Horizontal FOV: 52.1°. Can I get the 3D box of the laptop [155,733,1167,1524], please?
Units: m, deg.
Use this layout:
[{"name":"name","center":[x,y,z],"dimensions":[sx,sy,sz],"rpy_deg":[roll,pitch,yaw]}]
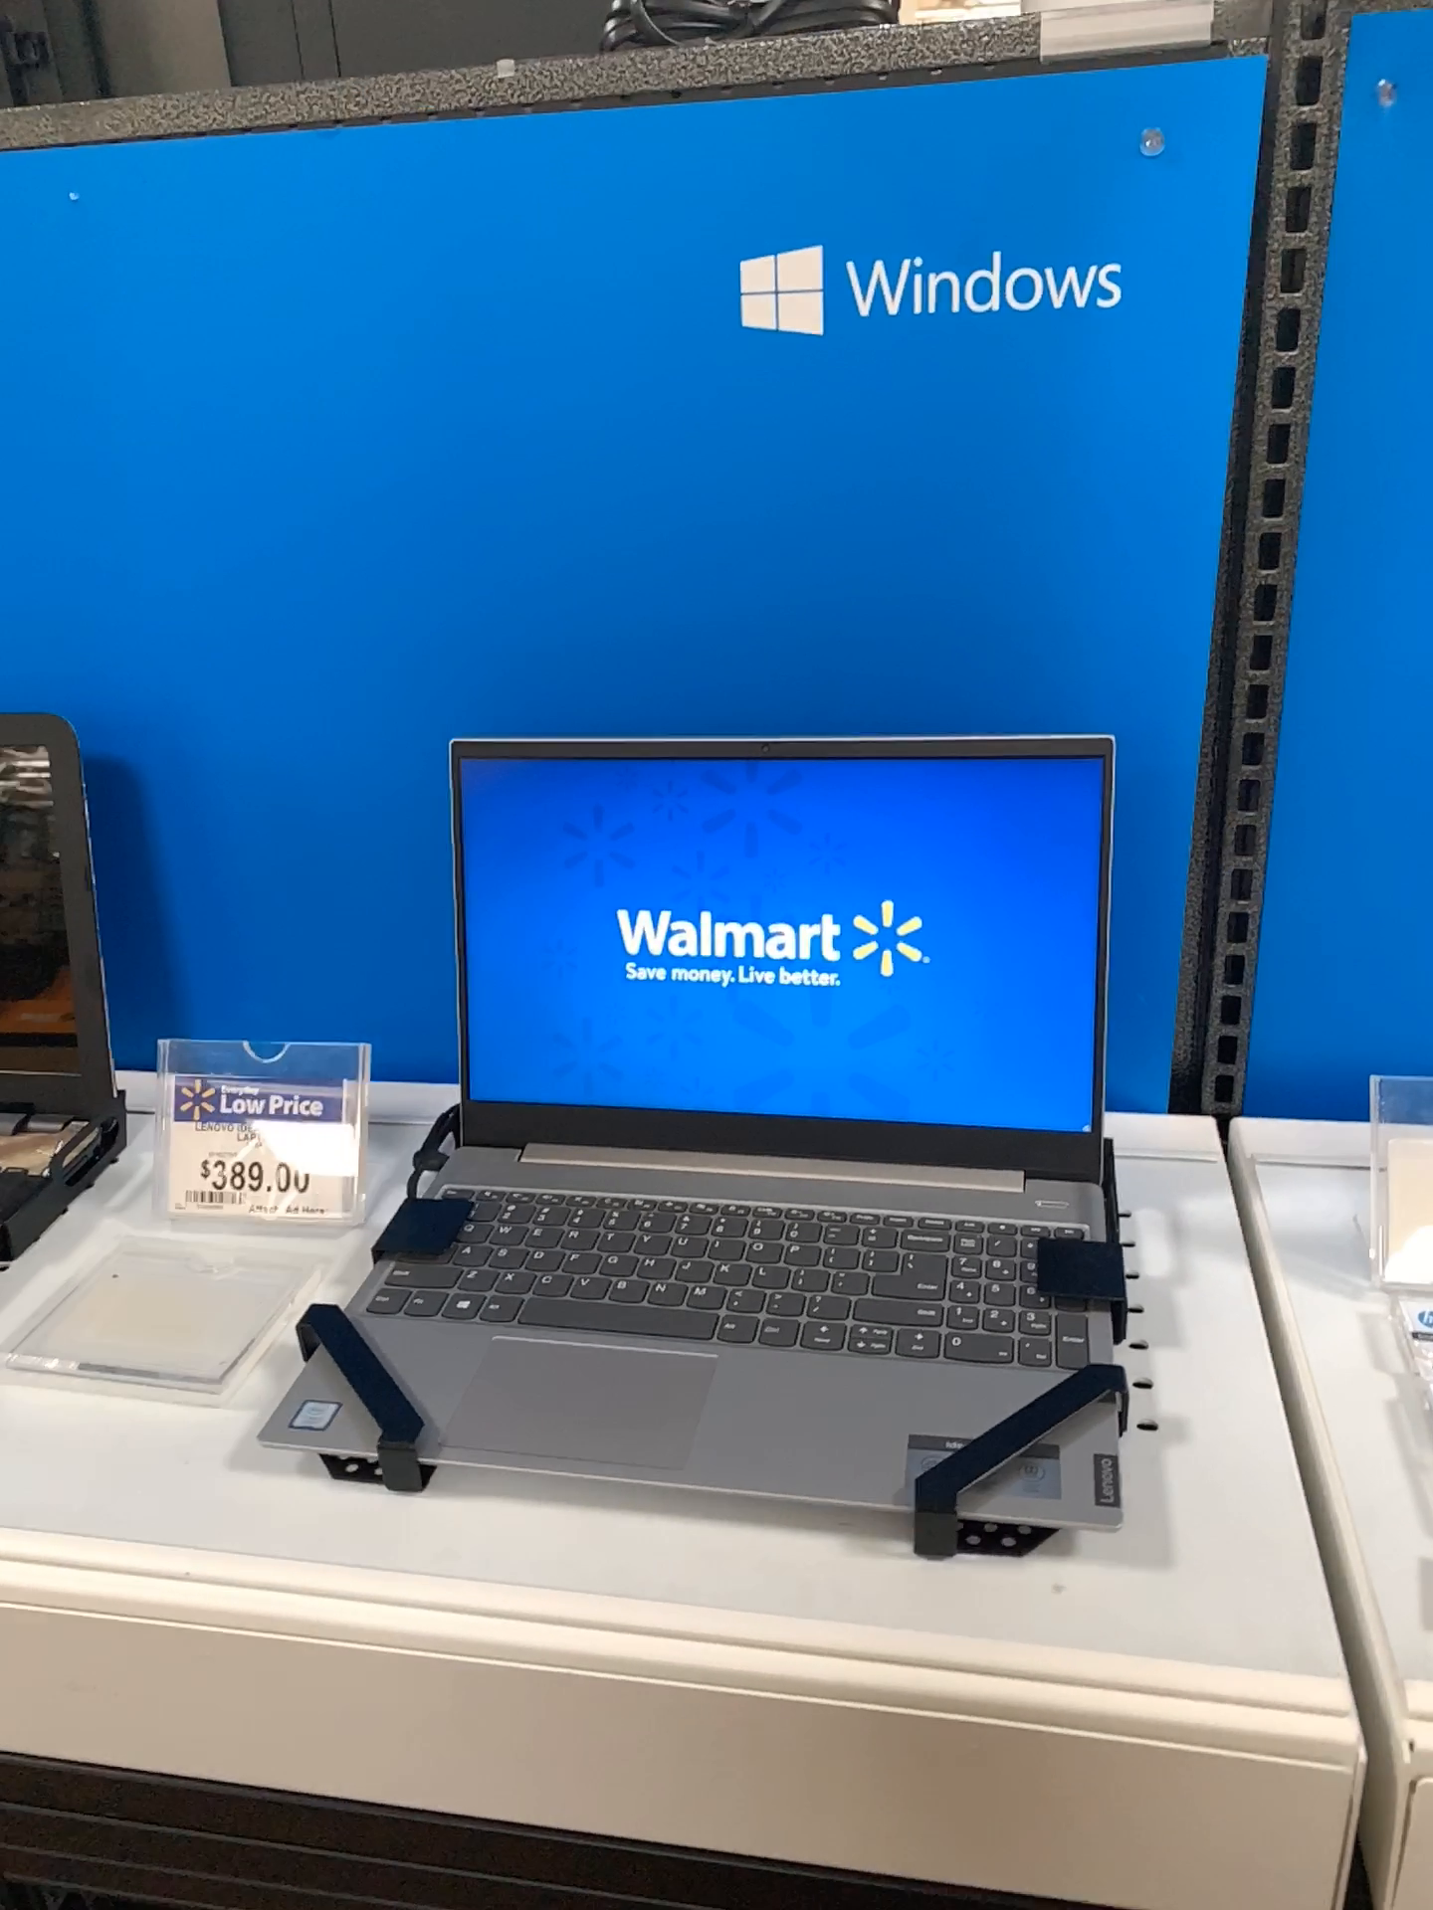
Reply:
[{"name":"laptop","center":[0.007,0.049,0.668],"dimensions":[0.350,0.217,0.299],"rpy_deg":[1,24,12]}]
